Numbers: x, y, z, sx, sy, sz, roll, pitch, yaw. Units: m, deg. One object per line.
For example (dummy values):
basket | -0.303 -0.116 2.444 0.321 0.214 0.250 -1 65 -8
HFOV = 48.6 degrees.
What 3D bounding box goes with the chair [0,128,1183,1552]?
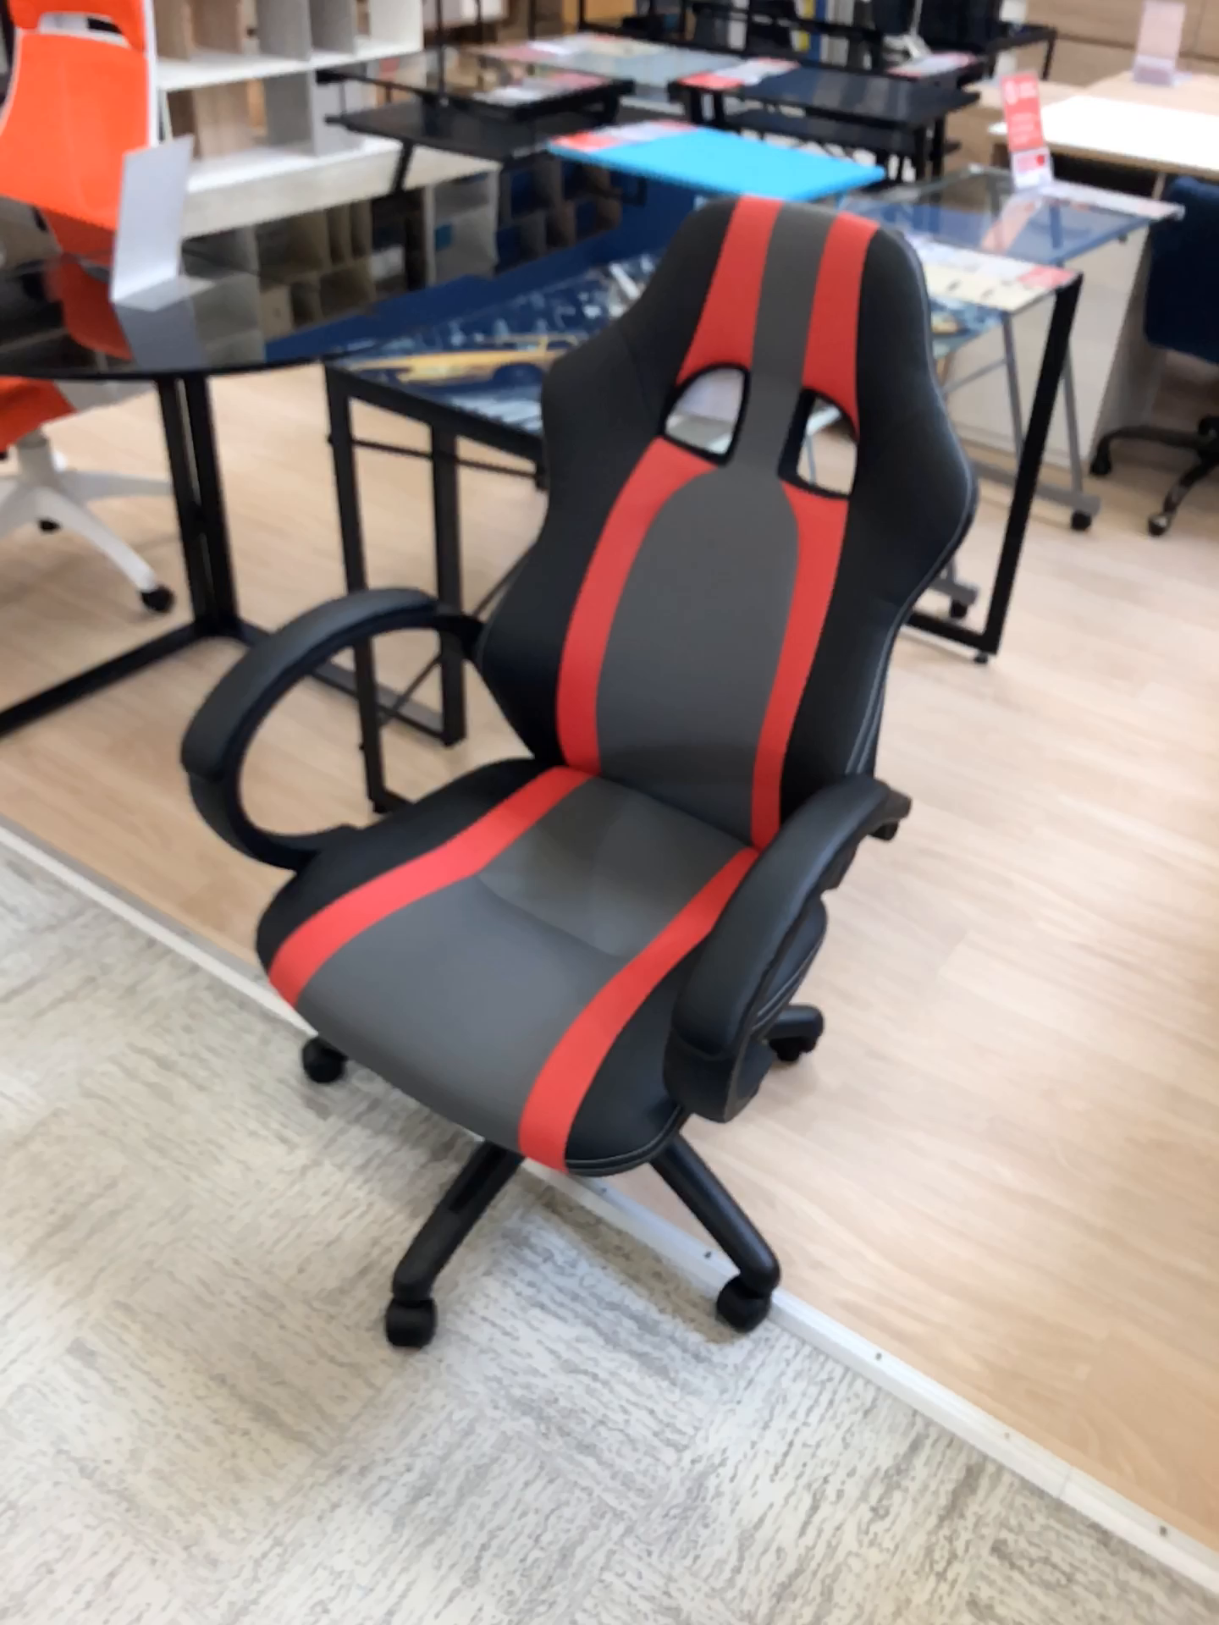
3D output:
chair | -0.051 -0.037 1.260 0.690 0.924 0.694 25 42 27
